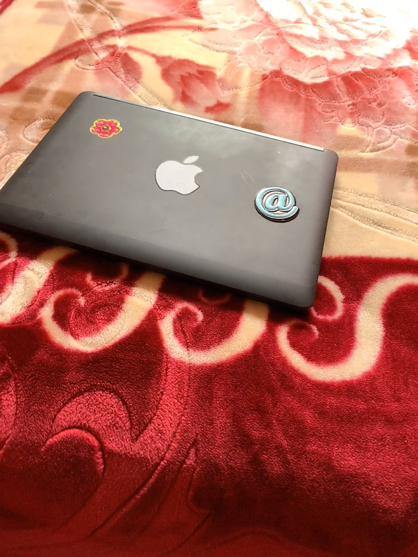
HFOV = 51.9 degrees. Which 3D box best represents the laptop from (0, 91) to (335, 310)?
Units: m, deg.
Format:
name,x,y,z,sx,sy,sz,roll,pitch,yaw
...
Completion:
name,x,y,z,sx,sy,sz,roll,pitch,yaw
laptop,-0.032,-0.098,0.429,0.299,0.001,0.209,16,55,6
